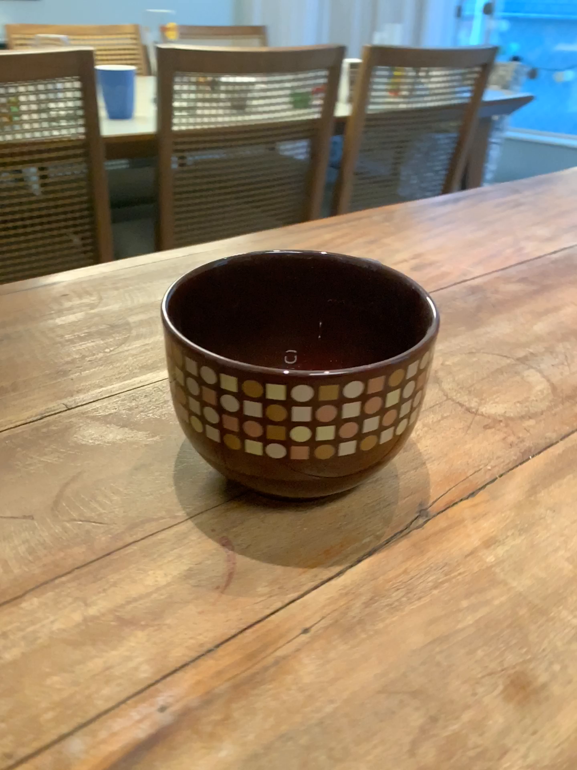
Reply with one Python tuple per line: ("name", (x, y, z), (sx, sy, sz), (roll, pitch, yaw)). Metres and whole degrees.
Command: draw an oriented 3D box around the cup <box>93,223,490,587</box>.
("cup", (0.015, -0.011, 0.331), (0.140, 0.089, 0.181), (16, 35, 21))
